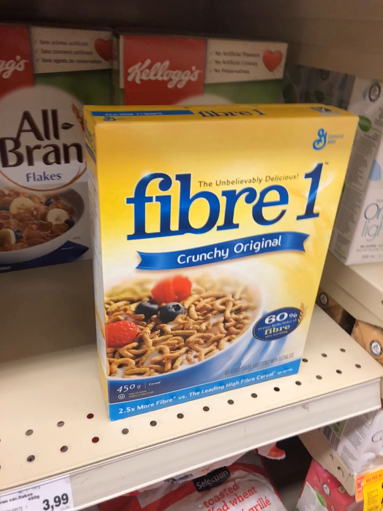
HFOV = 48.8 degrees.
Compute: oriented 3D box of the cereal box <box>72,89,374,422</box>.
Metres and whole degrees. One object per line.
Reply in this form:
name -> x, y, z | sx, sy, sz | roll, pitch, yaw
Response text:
cereal box -> 0.018, 0.004, 0.368 | 0.210, 0.268, 0.060 | -7, 32, -20
